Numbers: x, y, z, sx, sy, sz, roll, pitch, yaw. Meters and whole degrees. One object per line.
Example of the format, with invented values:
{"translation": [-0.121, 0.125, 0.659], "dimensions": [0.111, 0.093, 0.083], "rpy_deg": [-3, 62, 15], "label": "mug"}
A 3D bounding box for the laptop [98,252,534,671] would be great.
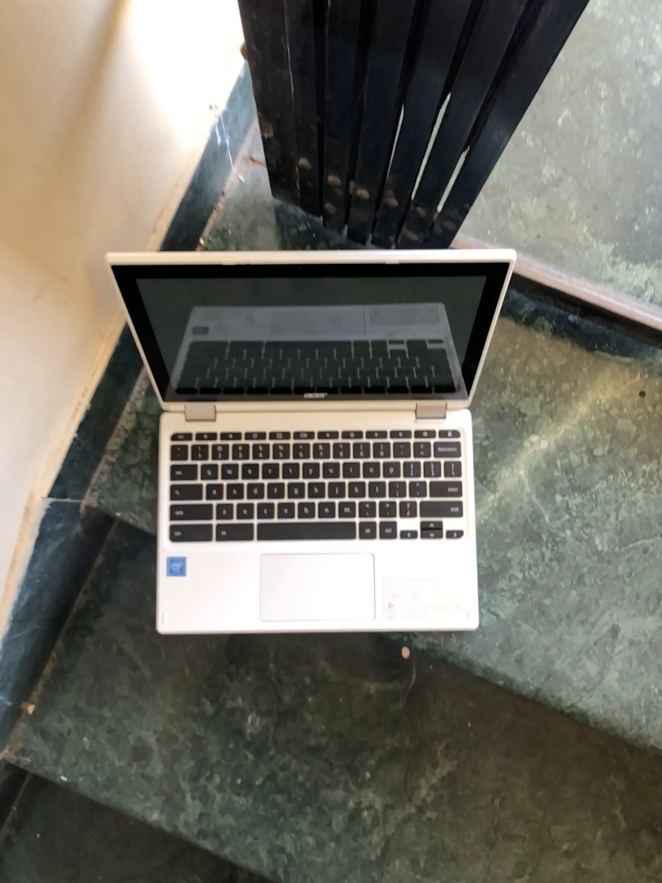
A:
{"translation": [-0.011, 0.021, 0.568], "dimensions": [0.278, 0.179, 0.271], "rpy_deg": [-1, 83, -1], "label": "laptop"}
